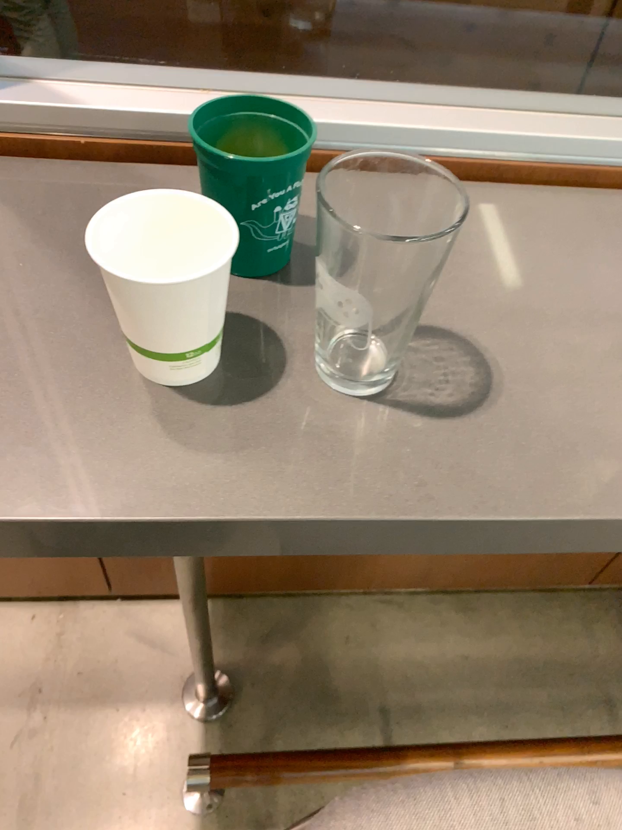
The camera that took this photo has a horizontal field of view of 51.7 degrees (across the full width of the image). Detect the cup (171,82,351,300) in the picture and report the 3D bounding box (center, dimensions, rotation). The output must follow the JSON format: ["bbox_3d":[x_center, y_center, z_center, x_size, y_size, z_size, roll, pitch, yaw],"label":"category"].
[{"bbox_3d":[-0.040,-0.173,0.496,0.090,0.110,0.090,3,51,-4],"label":"cup"}]

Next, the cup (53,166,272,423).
[{"bbox_3d":[-0.092,-0.079,0.422,0.090,0.110,0.090,3,51,-4],"label":"cup"}]

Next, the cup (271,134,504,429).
[{"bbox_3d":[0.040,-0.083,0.415,0.090,0.139,0.090,3,51,-4],"label":"cup"}]
